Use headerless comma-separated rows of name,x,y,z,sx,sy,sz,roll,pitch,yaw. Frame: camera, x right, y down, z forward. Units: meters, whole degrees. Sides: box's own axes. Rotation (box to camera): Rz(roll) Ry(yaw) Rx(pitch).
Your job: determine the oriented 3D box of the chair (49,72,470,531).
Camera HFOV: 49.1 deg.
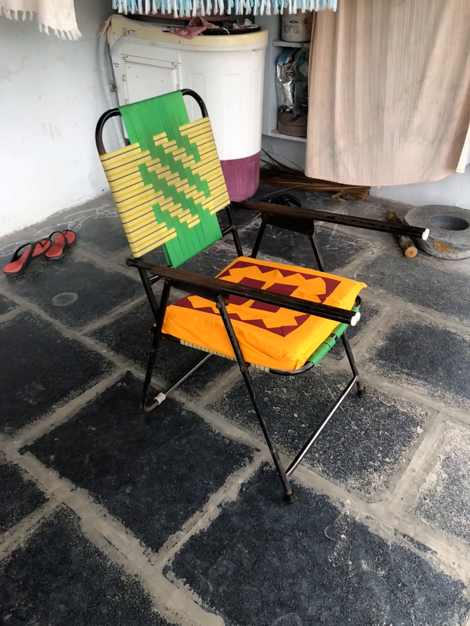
chair,0.098,-0.103,1.336,0.680,0.825,0.663,20,39,29
